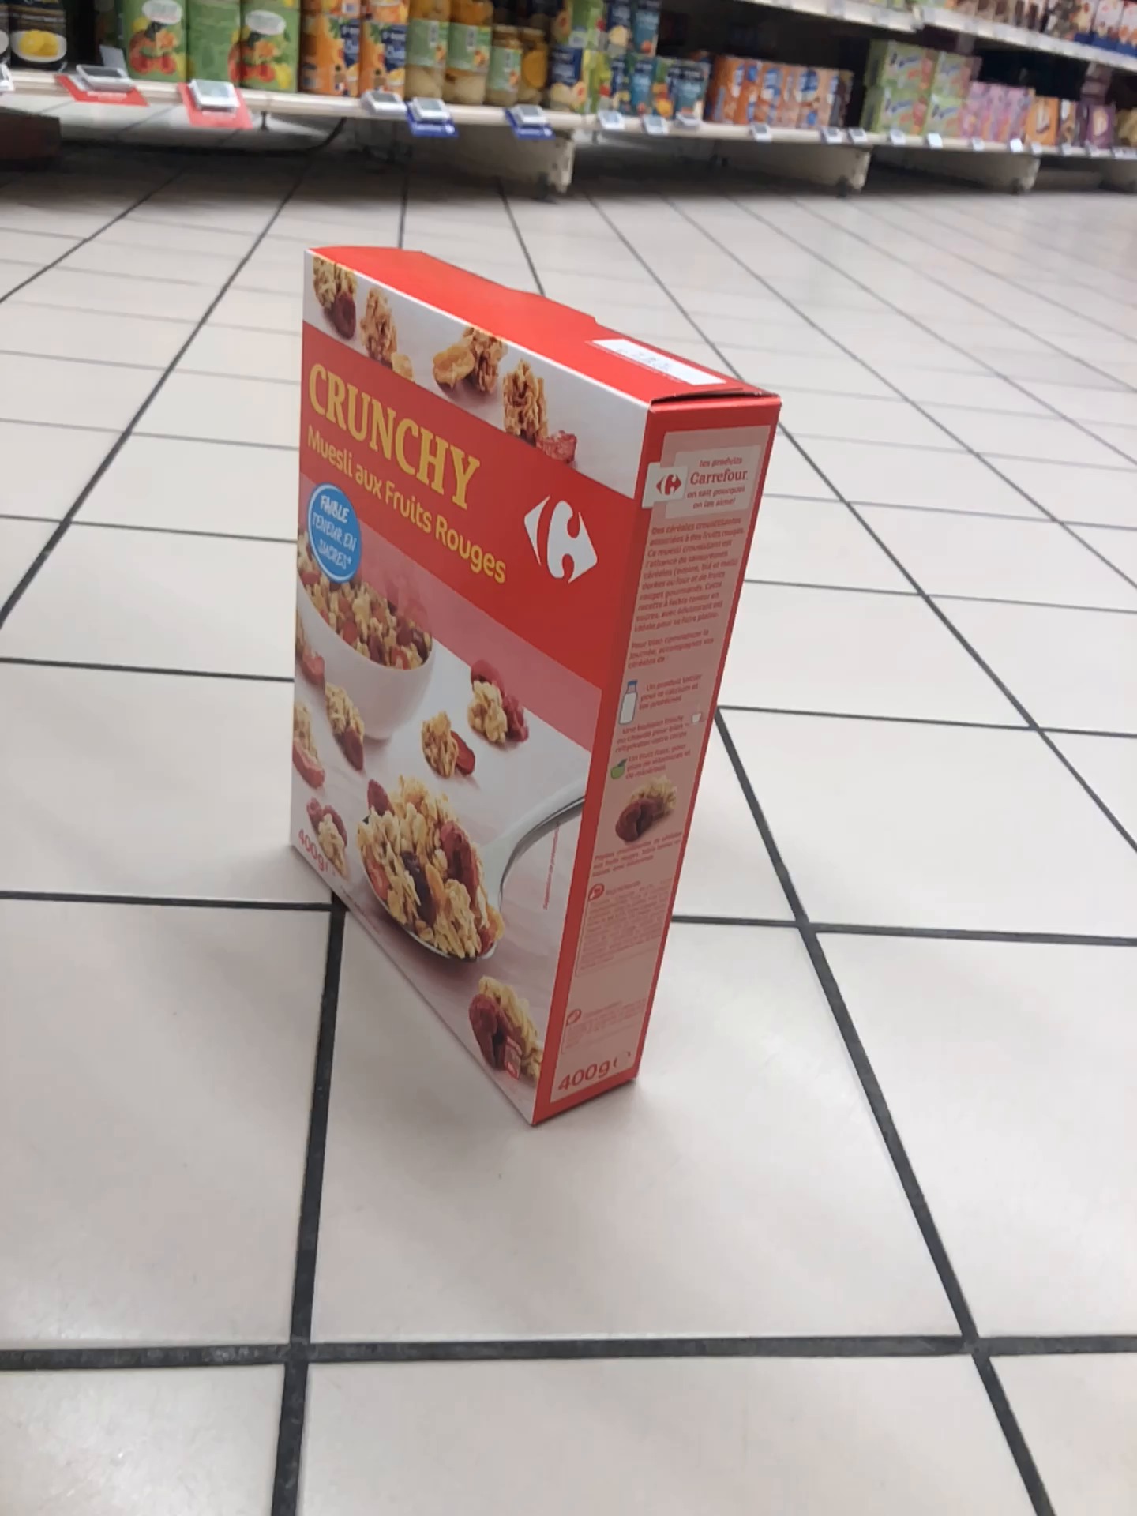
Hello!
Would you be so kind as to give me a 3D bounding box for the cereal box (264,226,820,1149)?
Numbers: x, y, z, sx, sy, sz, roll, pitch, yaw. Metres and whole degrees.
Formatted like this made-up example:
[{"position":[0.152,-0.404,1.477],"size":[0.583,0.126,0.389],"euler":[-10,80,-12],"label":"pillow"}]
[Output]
[{"position":[-0.034,-0.032,0.435],"size":[0.060,0.248,0.200],"euler":[-14,36,-35],"label":"cereal box"}]
